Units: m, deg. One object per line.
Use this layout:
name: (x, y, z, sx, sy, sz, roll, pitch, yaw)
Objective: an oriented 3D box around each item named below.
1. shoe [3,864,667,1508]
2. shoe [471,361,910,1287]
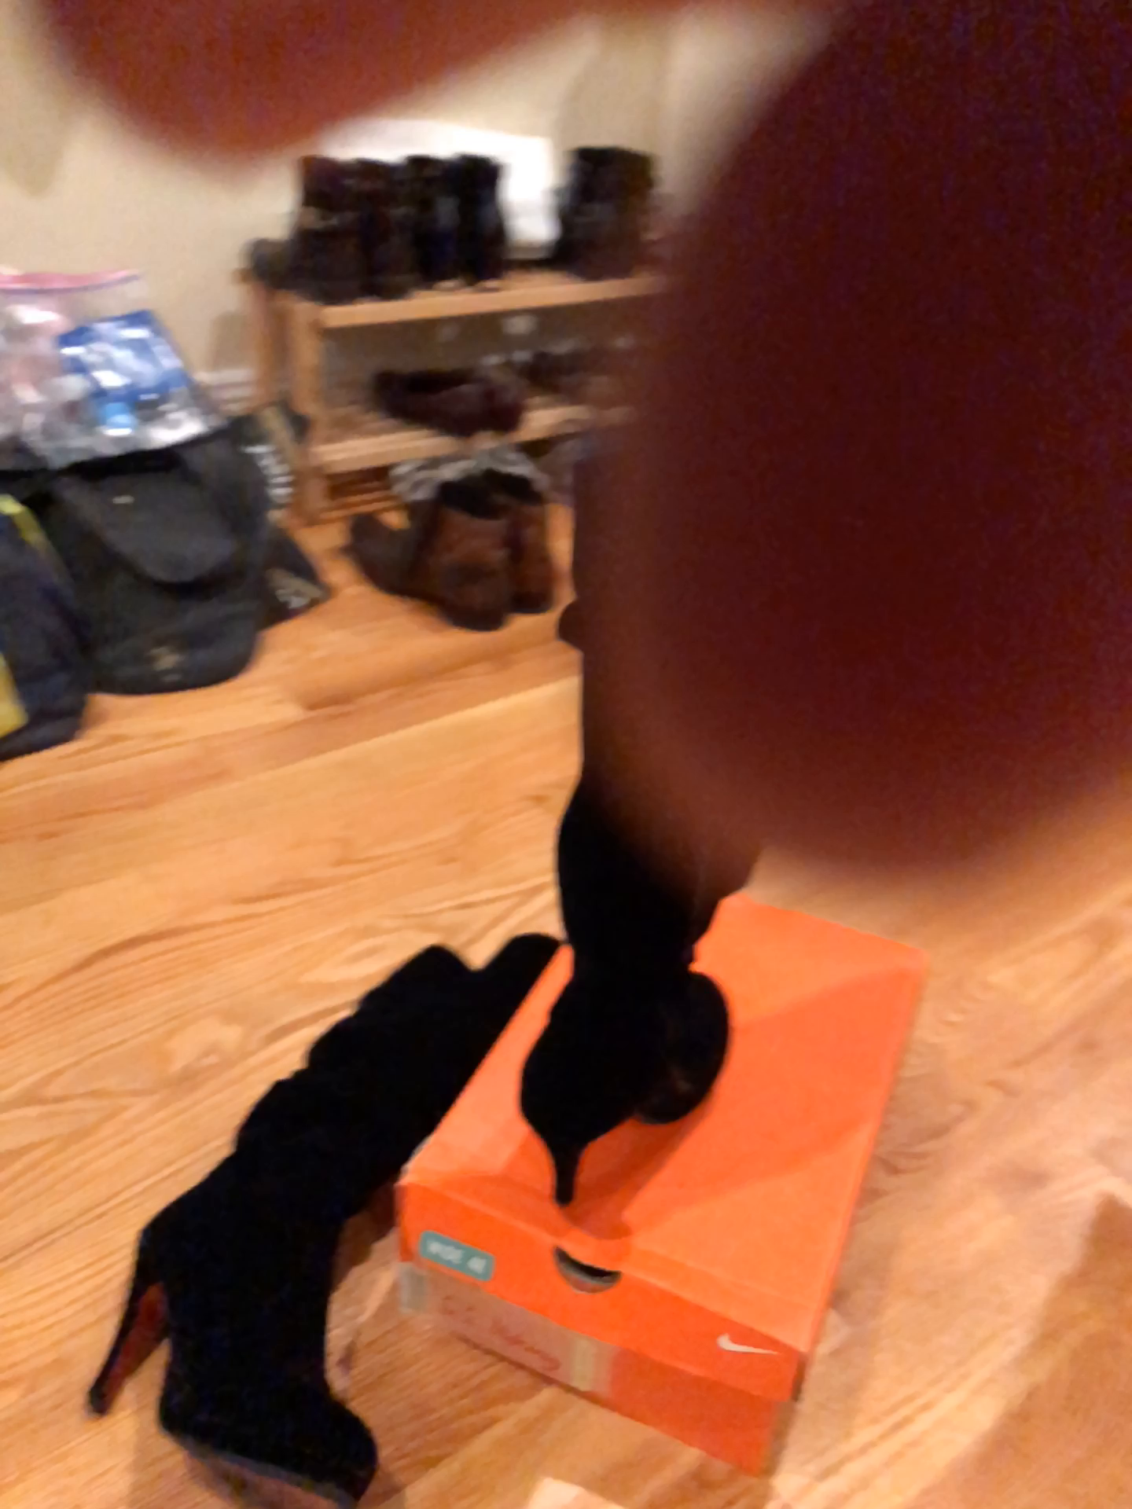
shoe: (-0.104, 0.237, 0.759, 0.206, 0.088, 0.401, 15, 33, 18)
shoe: (0.055, 0.036, 0.620, 0.089, 0.397, 0.217, 19, 34, 21)
